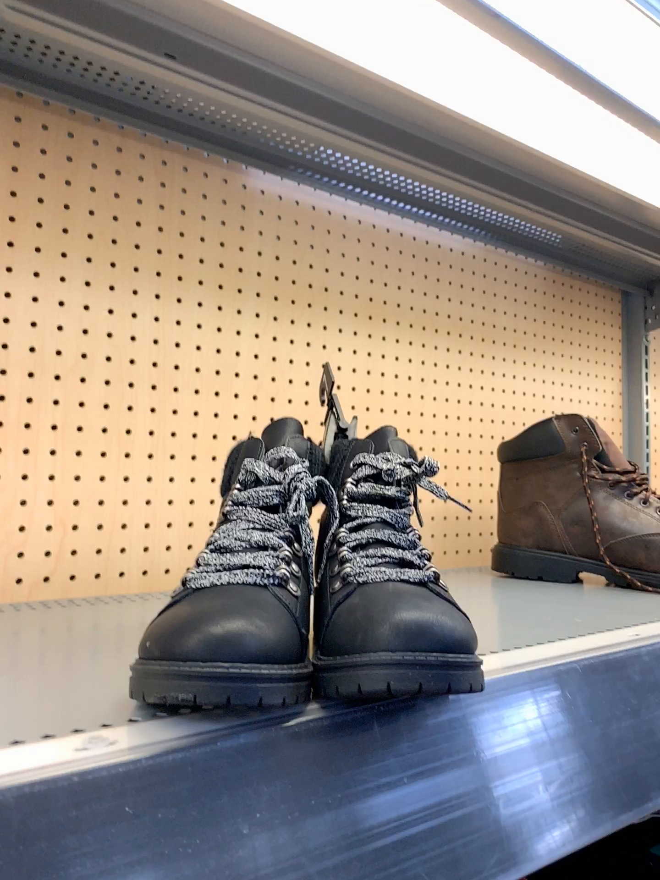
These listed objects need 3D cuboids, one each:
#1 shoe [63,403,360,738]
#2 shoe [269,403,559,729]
[{"bbox_3d":[-0.046,0.060,0.410,0.104,0.138,0.235,1,-3,8],"label":"shoe"},{"bbox_3d":[0.030,0.060,0.413,0.105,0.138,0.231,2,-3,-11],"label":"shoe"}]
